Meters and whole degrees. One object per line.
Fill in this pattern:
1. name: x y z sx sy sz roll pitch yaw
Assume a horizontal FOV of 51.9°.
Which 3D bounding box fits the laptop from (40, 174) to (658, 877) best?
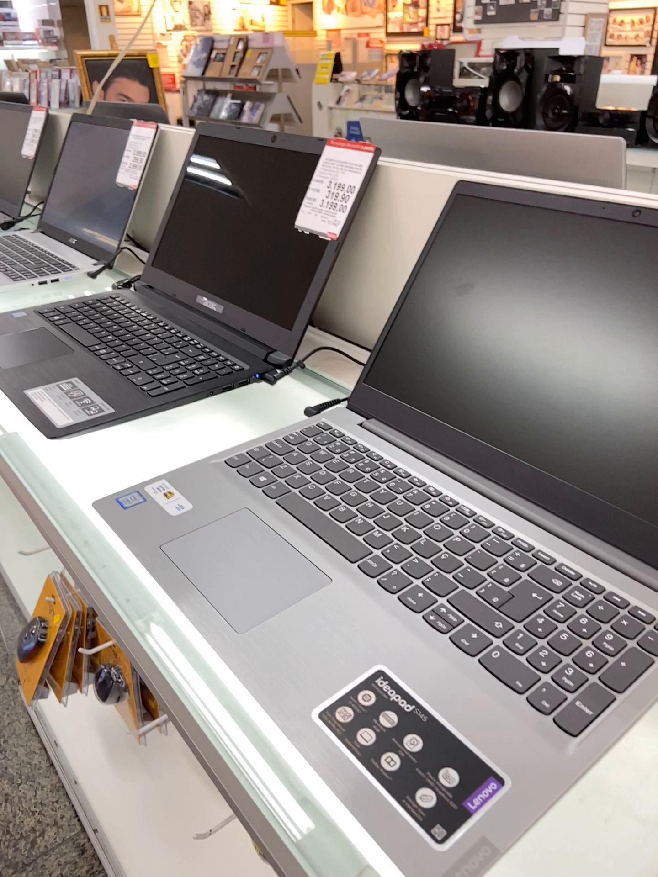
1. laptop: 0.087 -0.030 0.458 0.403 0.192 0.370 -23 36 -32
